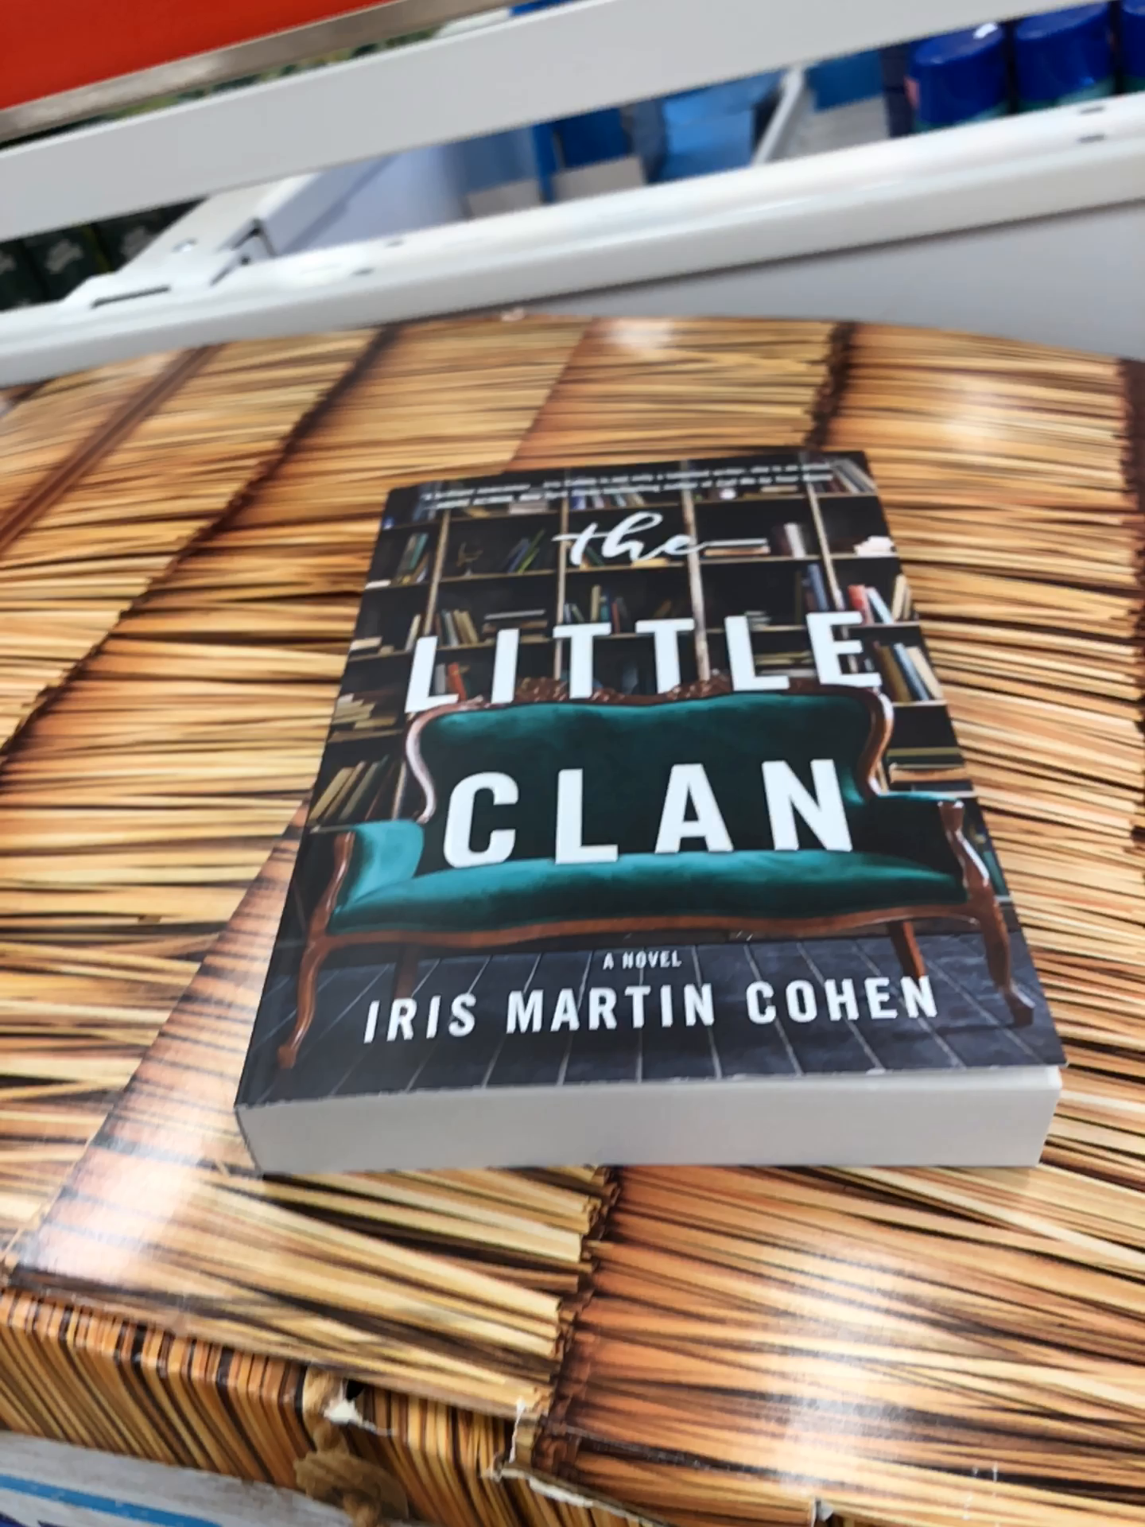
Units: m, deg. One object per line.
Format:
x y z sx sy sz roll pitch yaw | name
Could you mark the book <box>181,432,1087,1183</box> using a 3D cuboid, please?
0.011 -0.008 0.268 0.130 0.030 0.191 -3 39 5 | book
